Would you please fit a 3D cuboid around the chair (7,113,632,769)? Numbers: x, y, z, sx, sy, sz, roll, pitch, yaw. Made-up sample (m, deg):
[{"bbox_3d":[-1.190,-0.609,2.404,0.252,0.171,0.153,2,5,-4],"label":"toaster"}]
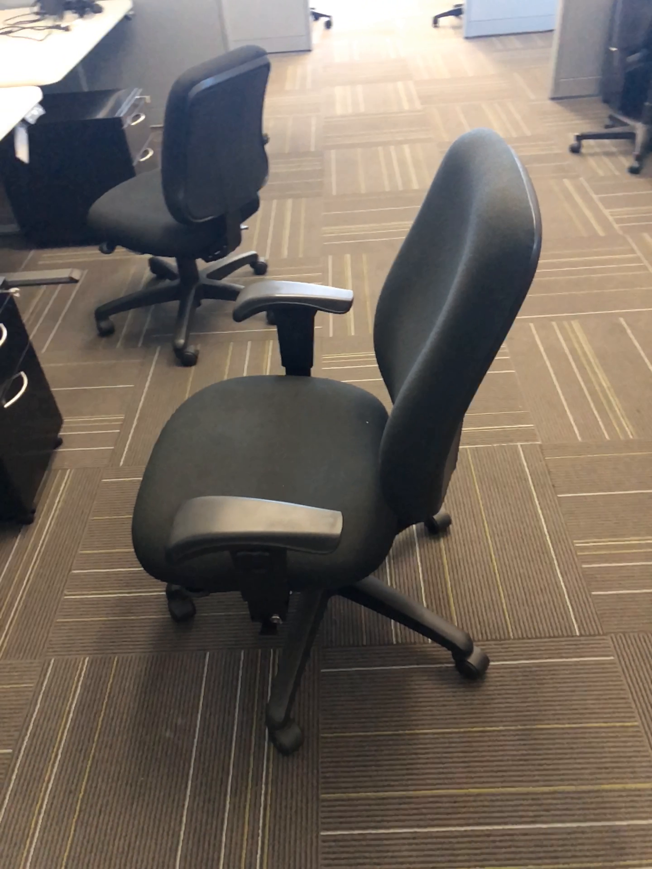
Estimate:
[{"bbox_3d":[0.018,0.028,1.369,0.680,0.955,0.744,-4,40,2],"label":"chair"}]
